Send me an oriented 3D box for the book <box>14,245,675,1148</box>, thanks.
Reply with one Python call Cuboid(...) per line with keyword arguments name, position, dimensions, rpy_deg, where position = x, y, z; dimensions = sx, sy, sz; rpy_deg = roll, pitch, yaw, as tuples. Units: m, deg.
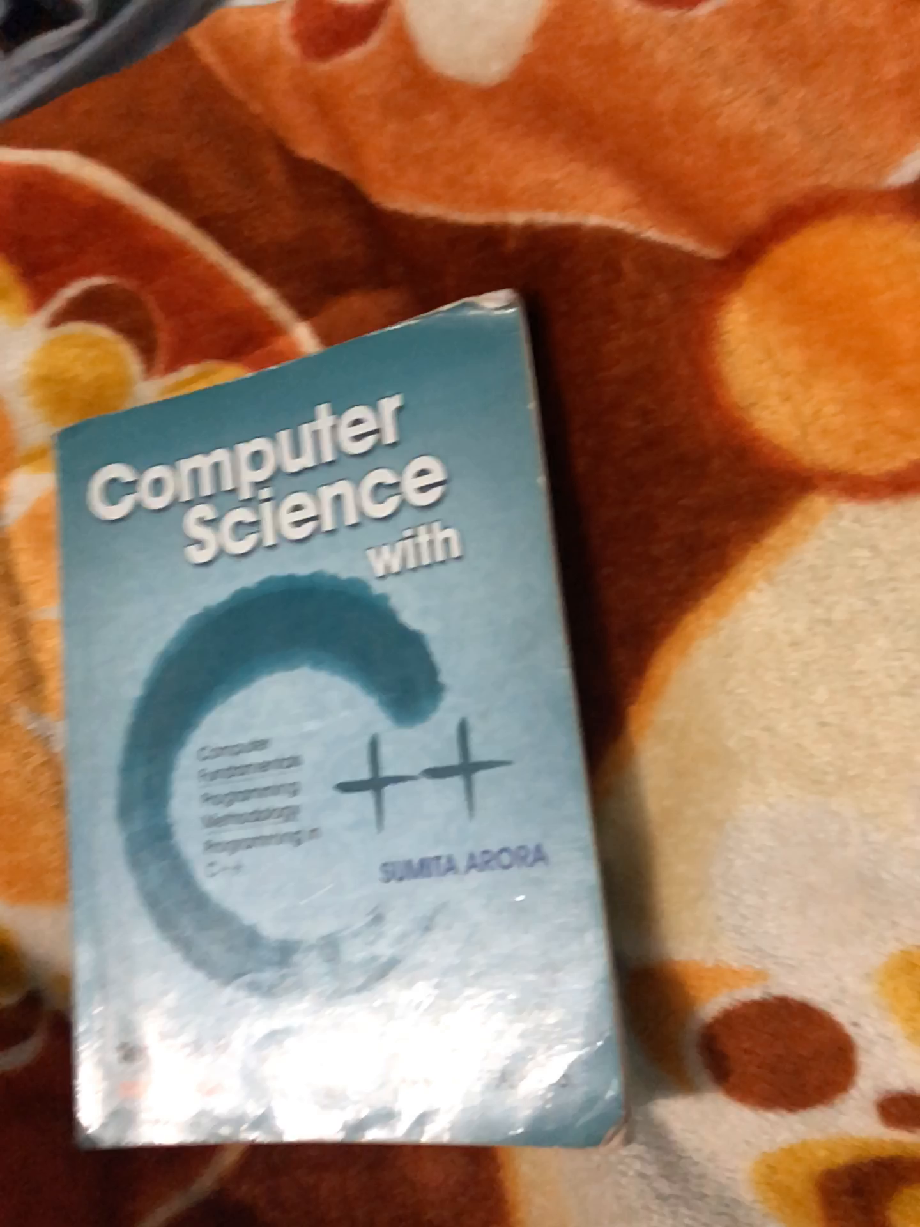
Cuboid(name="book", position=(-0.054, 0.033, 0.356), dimensions=(0.210, 0.040, 0.270), rpy_deg=(-11, 78, 19))
